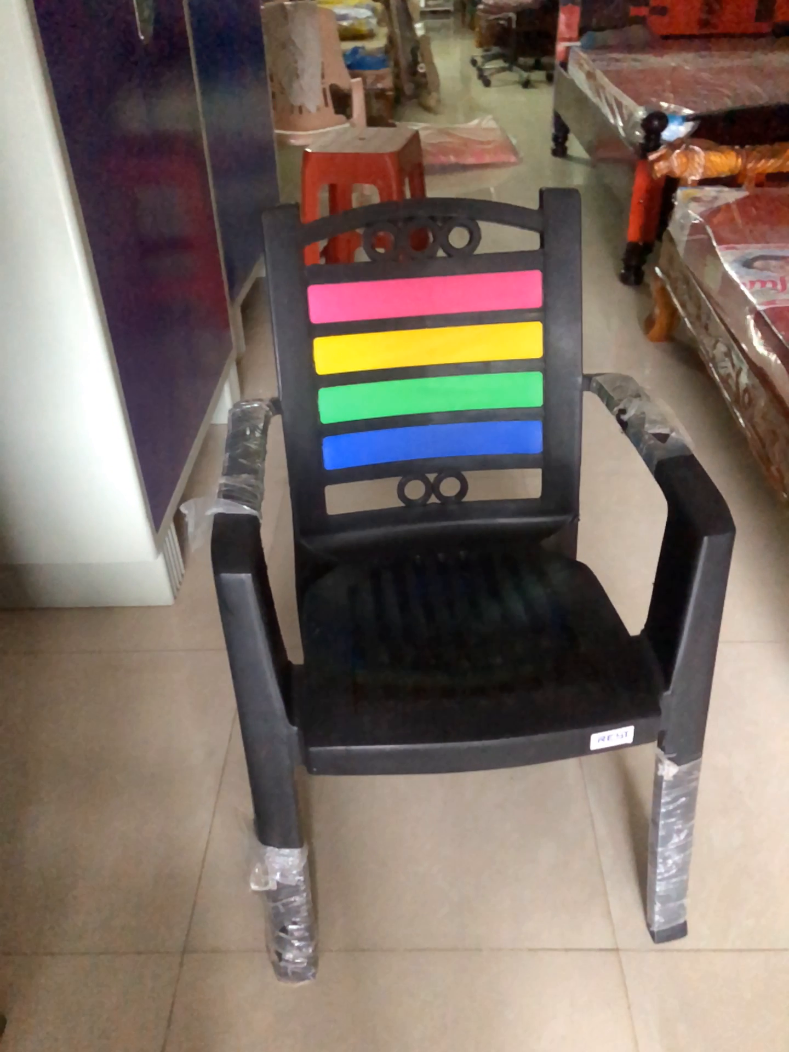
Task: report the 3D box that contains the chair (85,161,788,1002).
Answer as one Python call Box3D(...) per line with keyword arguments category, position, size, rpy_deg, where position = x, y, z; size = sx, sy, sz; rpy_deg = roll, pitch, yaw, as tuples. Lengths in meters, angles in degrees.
Box3D(category="chair", position=(0.074, 0.089, 1.223), size=(0.640, 0.975, 0.613), rpy_deg=(-4, 35, -2))
